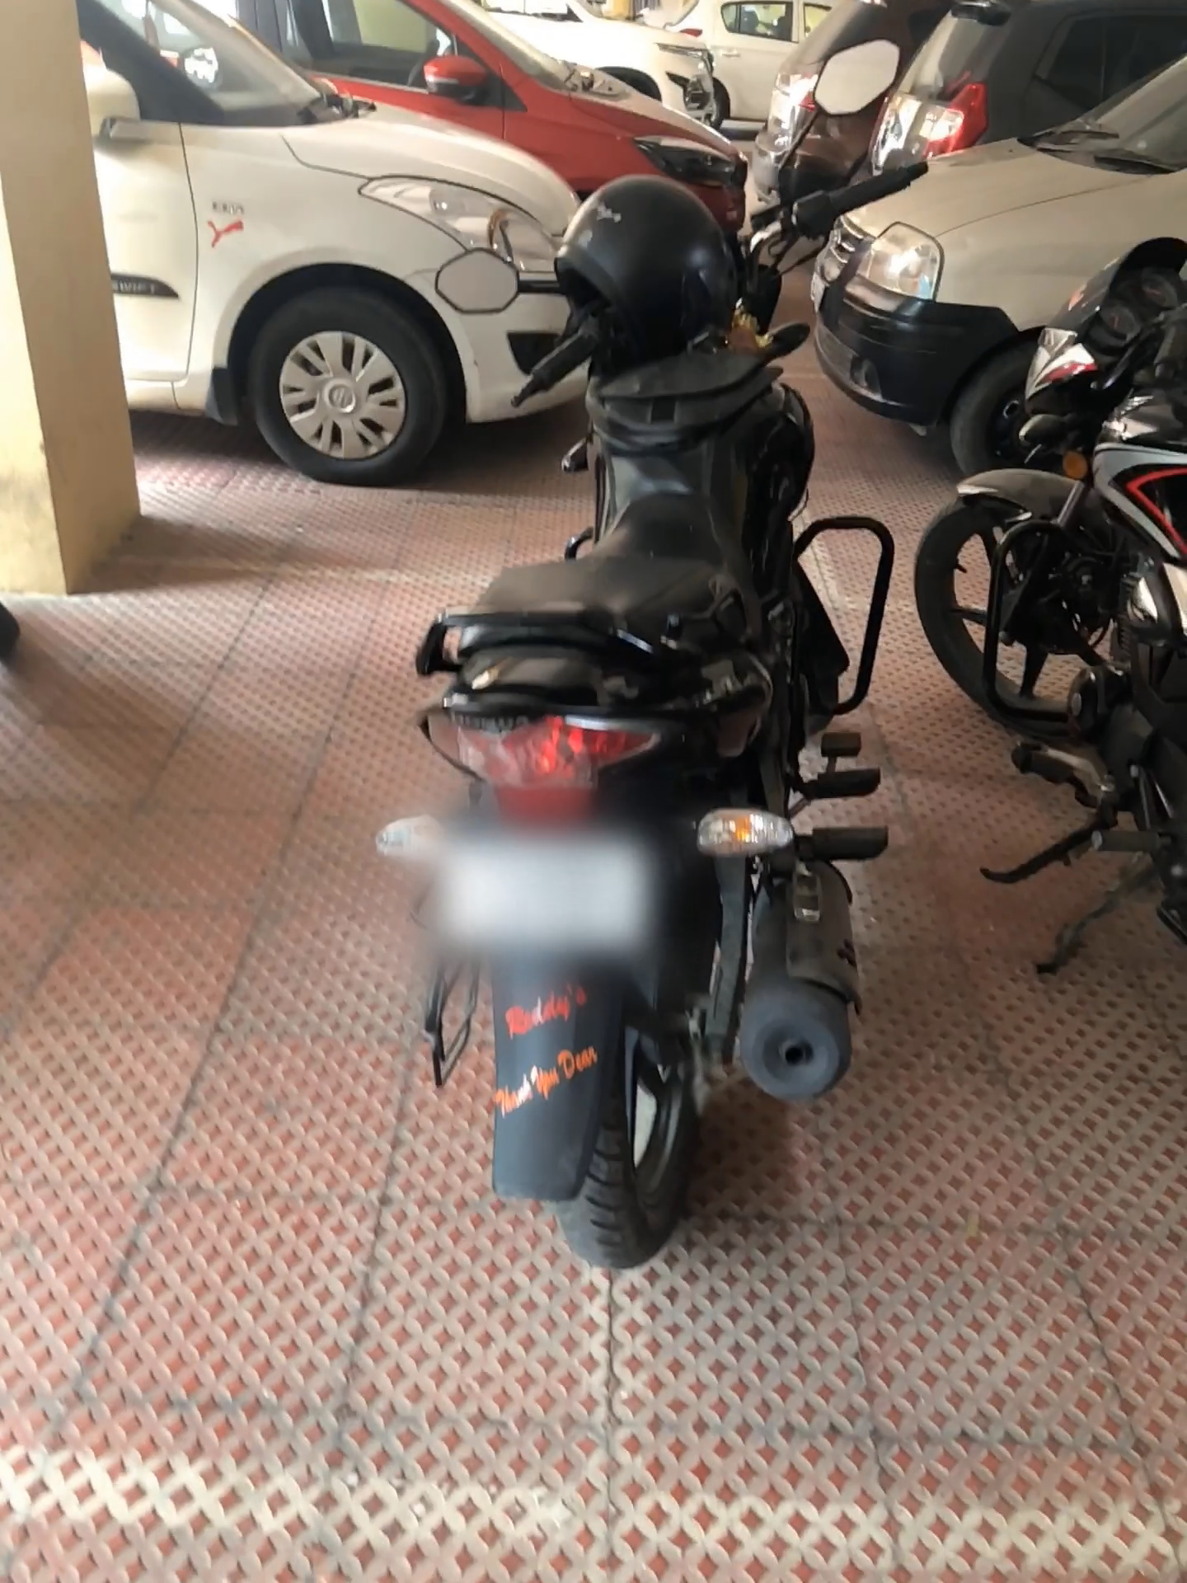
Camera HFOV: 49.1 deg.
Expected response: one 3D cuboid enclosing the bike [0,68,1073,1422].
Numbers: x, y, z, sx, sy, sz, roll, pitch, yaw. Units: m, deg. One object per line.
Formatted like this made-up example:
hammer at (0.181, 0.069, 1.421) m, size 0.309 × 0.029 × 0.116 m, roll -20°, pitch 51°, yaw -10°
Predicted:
bike at (-0.027, -0.308, 1.959) m, size 0.804 × 1.200 × 1.692 m, roll 6°, pitch 33°, yaw 4°
